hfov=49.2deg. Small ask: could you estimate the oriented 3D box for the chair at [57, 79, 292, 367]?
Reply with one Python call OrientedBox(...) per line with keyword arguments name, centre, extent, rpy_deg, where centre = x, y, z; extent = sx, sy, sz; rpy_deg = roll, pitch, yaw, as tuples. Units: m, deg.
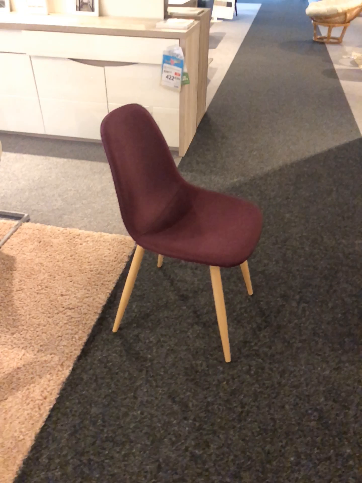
OrientedBox(name="chair", centre=(0.007, -0.075, 1.403), extent=(0.570, 0.795, 0.473), rpy_deg=(12, 37, 15))
